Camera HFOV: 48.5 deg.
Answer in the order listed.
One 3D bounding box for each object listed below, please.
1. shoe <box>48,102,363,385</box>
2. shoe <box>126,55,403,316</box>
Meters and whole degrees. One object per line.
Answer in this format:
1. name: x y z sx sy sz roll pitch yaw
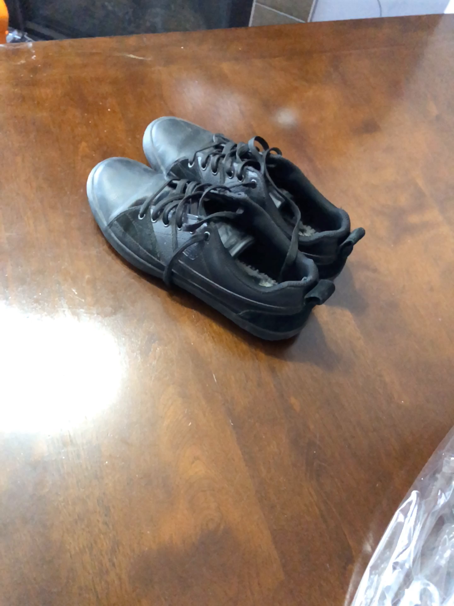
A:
1. shoe: -0.030 -0.066 0.530 0.300 0.110 0.110 36 60 12
2. shoe: 0.029 -0.140 0.583 0.300 0.110 0.110 40 61 14
